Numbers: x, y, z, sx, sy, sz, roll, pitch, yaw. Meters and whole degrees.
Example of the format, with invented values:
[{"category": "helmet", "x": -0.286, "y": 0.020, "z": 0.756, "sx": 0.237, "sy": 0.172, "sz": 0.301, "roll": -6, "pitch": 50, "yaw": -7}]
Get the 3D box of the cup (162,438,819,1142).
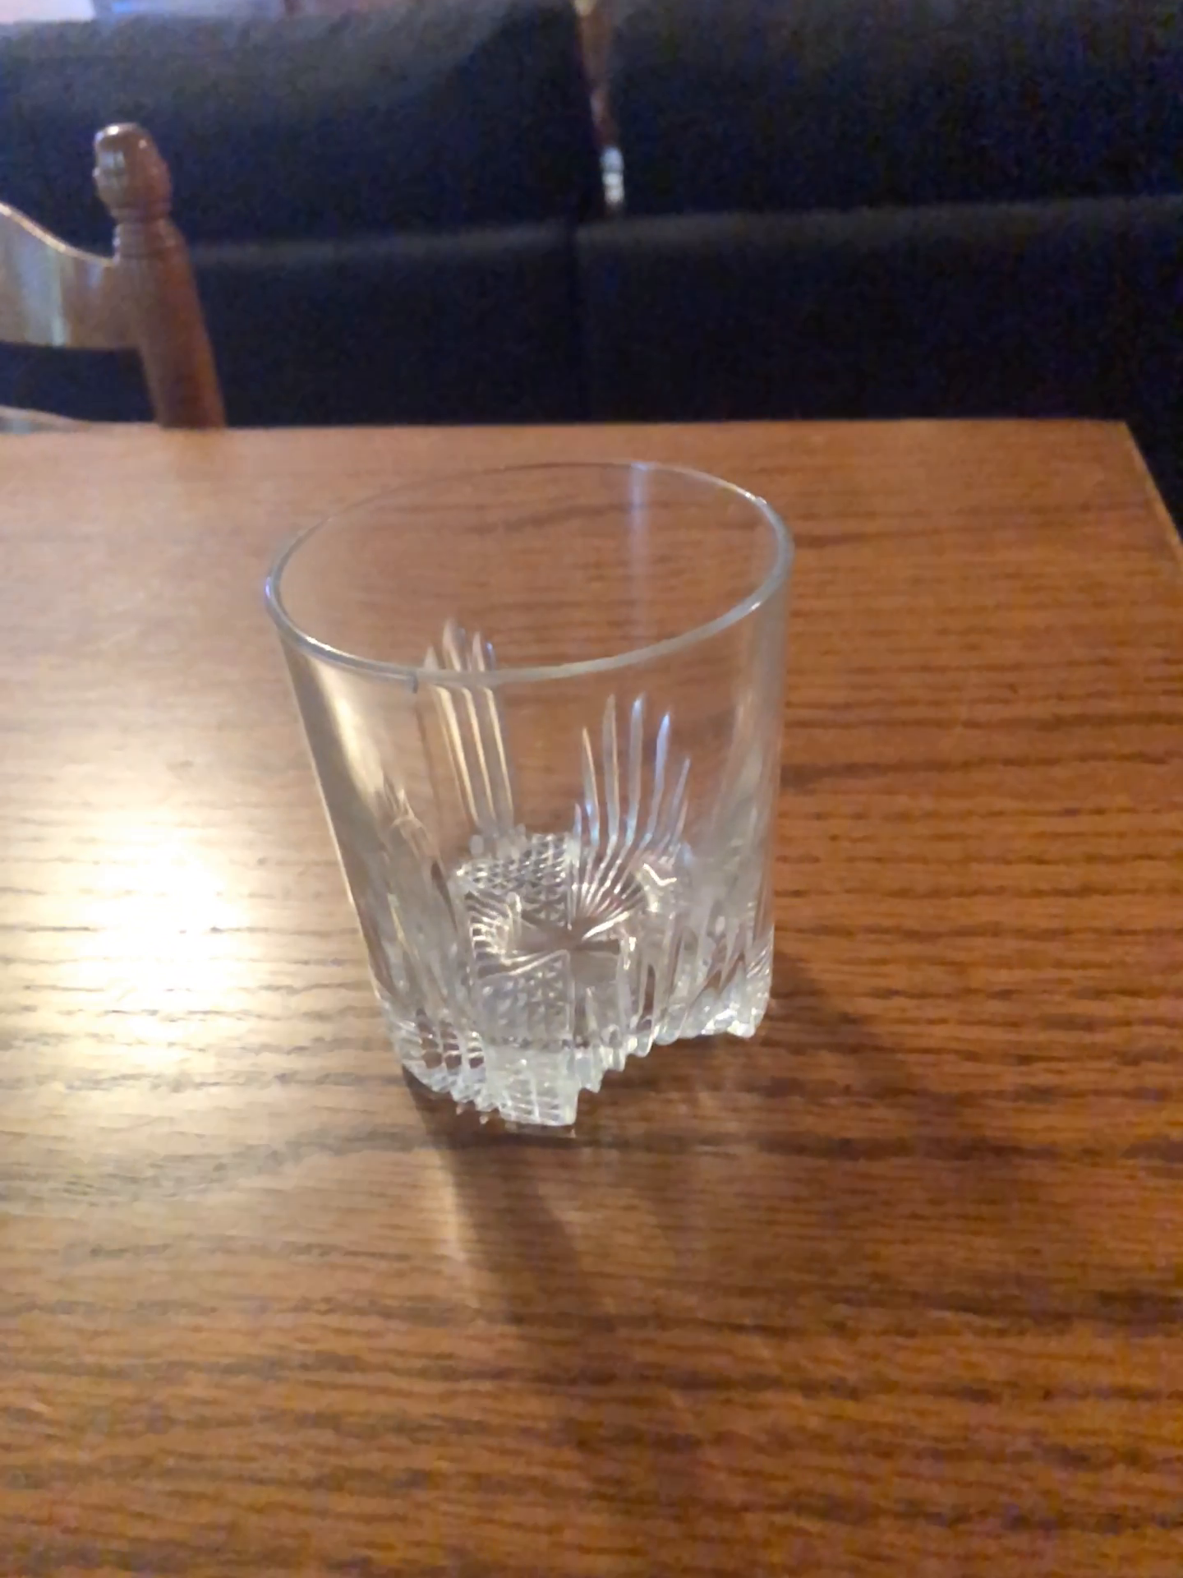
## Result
[{"category": "cup", "x": -0.010, "y": -0.002, "z": 0.224, "sx": 0.084, "sy": 0.084, "sz": 0.080, "roll": -4, "pitch": 33, "yaw": 2}]
